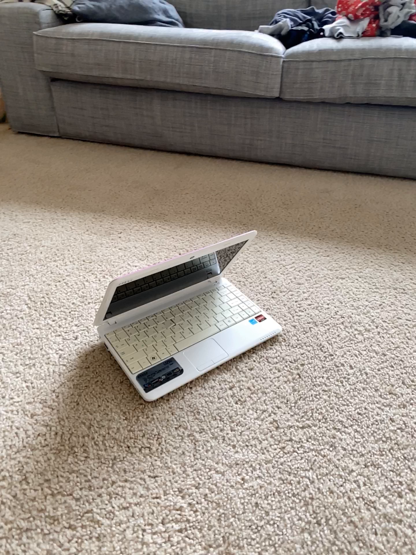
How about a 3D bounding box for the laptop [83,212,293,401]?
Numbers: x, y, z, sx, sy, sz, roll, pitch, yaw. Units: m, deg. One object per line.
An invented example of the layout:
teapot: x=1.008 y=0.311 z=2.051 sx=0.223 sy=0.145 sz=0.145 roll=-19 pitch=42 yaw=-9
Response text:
laptop: x=-0.029 y=0.030 z=0.728 sx=0.286 sy=0.147 sz=0.188 roll=-22 pitch=42 yaw=-30
